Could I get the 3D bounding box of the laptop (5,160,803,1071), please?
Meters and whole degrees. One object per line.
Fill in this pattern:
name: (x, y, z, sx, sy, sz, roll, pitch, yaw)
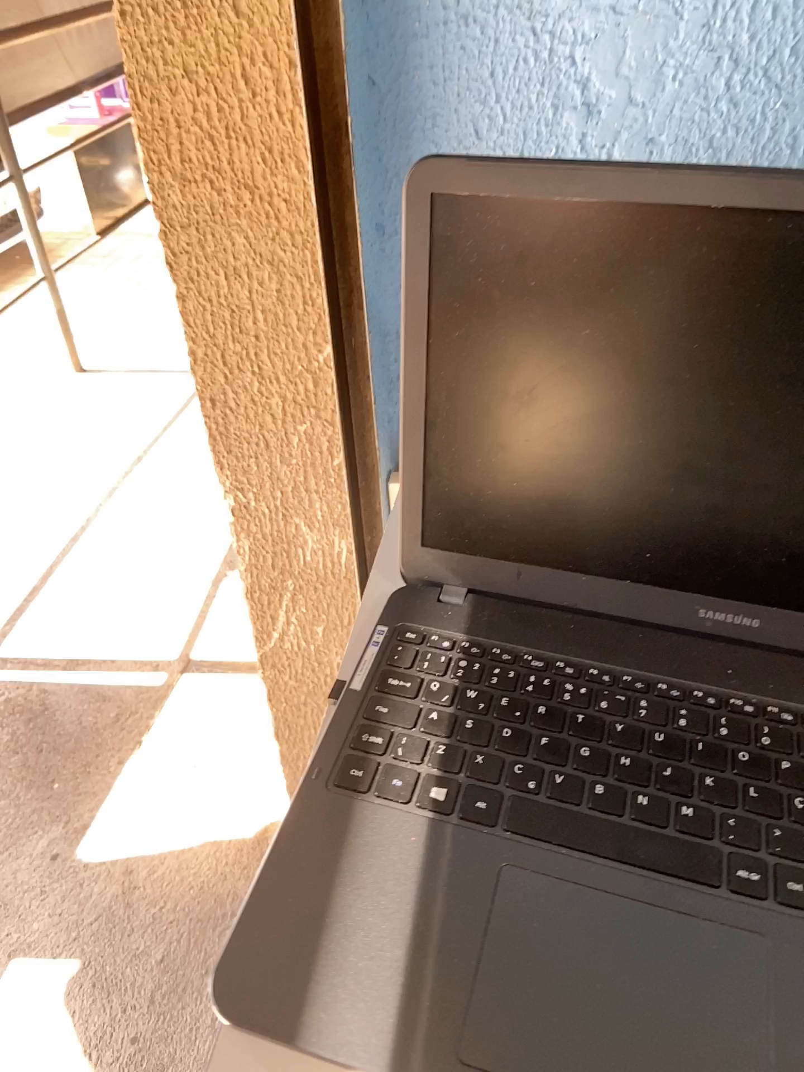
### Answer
laptop: (0.140, 0.030, 0.306, 0.370, 0.232, 0.288, 9, 40, 16)
